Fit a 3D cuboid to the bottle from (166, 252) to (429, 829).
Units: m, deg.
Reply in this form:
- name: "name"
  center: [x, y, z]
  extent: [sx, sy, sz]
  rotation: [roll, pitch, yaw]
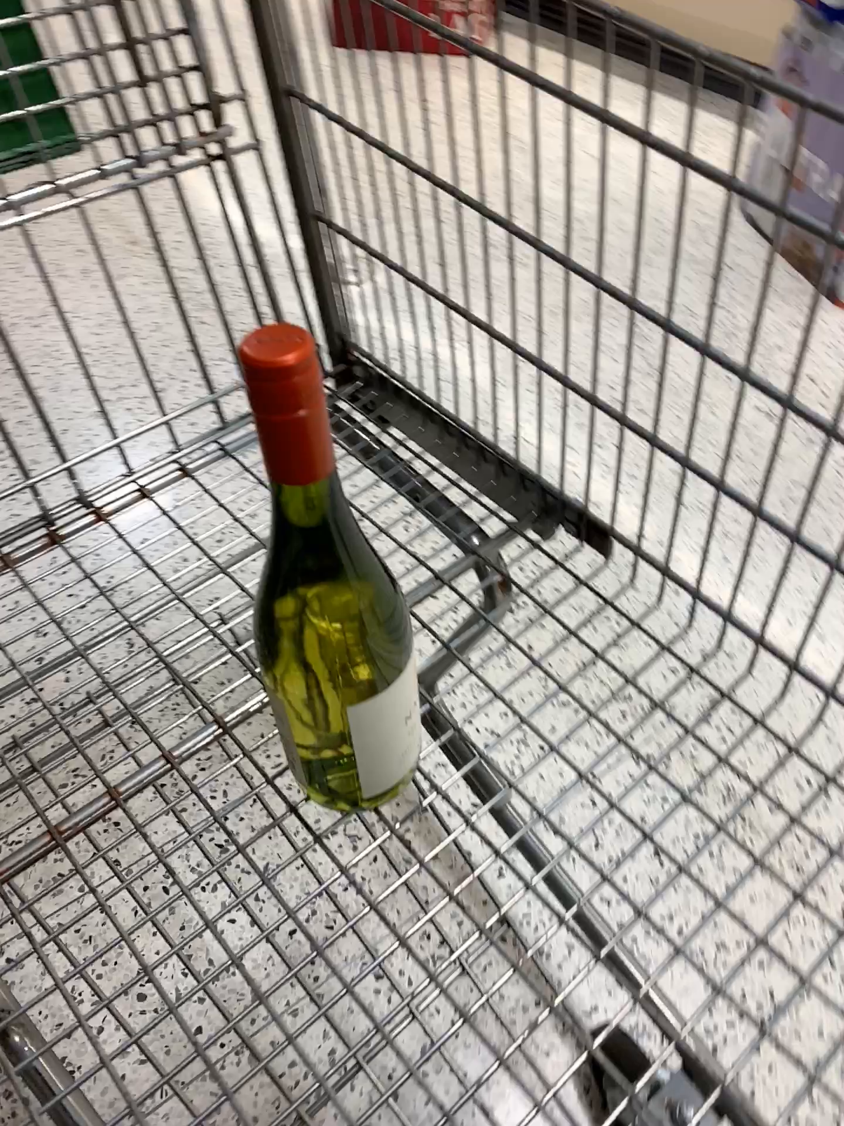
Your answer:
- name: "bottle"
  center: [-0.038, 0.015, 0.410]
  extent: [0.080, 0.297, 0.091]
  rotation: [1, 47, 2]
